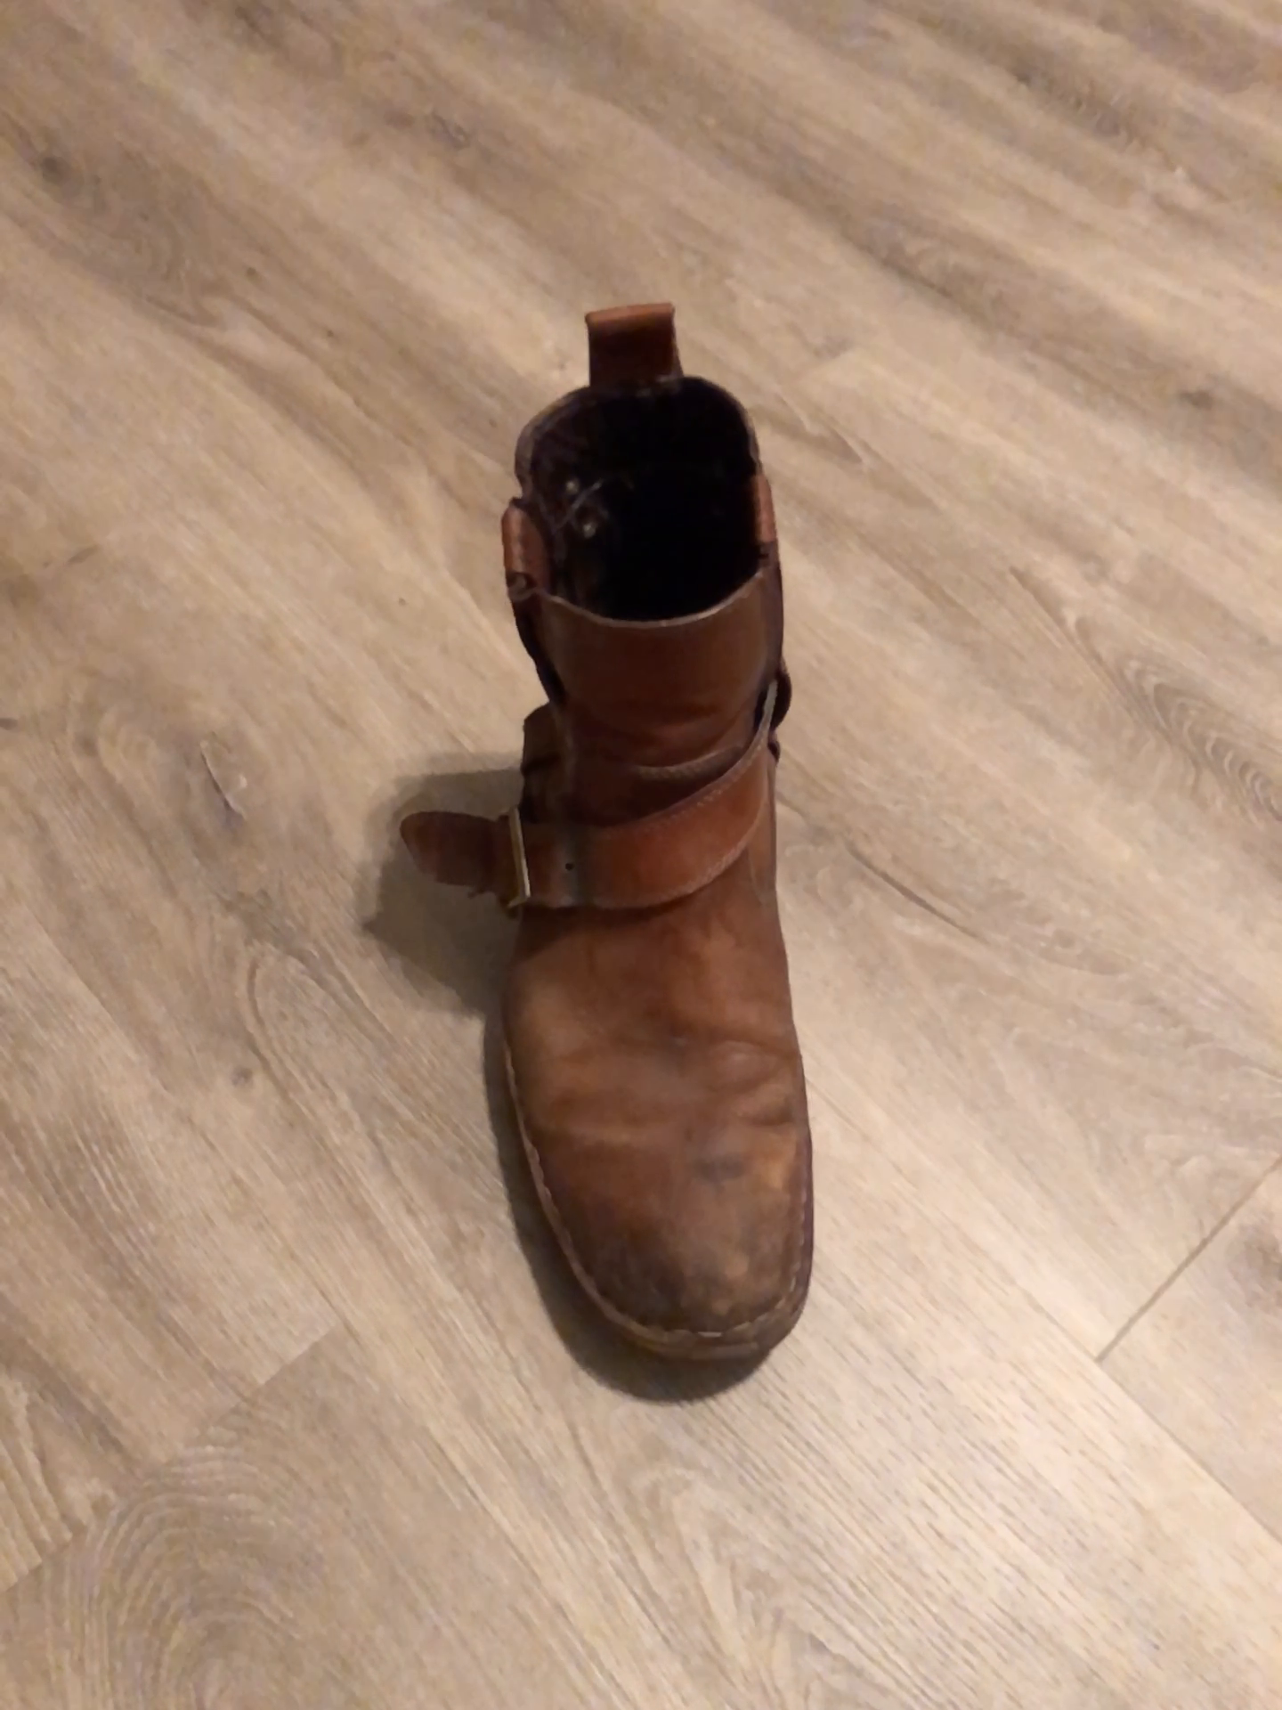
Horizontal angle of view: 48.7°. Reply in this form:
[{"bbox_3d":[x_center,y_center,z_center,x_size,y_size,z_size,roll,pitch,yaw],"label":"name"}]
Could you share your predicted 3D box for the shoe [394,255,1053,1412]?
[{"bbox_3d":[0.002,-0.008,0.445,0.130,0.209,0.291,-3,55,-4],"label":"shoe"}]
